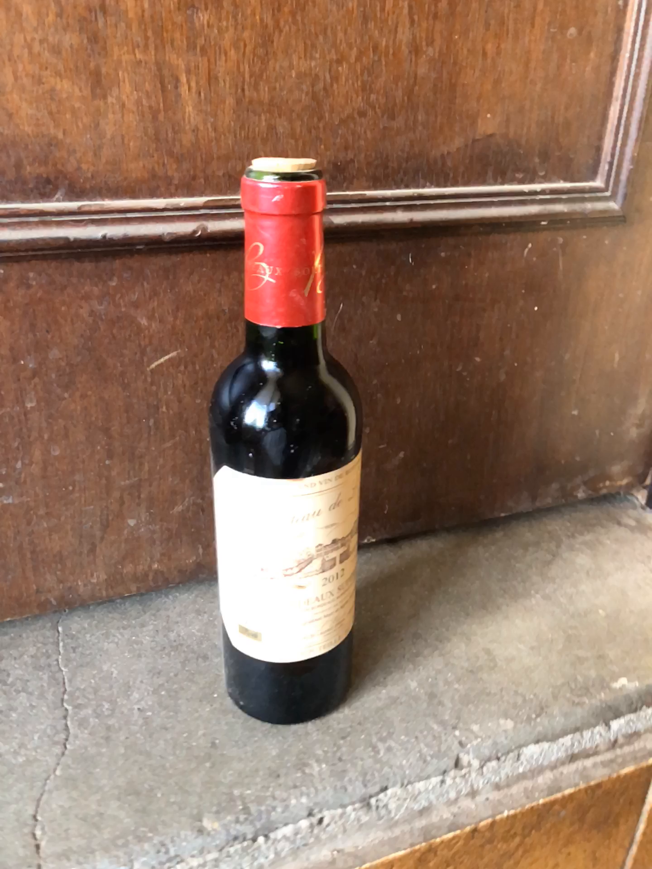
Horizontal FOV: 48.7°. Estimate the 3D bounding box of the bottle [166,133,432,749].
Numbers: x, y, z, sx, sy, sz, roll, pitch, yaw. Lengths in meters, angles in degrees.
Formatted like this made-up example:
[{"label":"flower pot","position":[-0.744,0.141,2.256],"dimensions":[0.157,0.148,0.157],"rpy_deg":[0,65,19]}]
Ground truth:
[{"label":"bottle","position":[-0.010,0.008,0.299],"dimensions":[0.060,0.239,0.070],"rpy_deg":[19,32,31]}]
